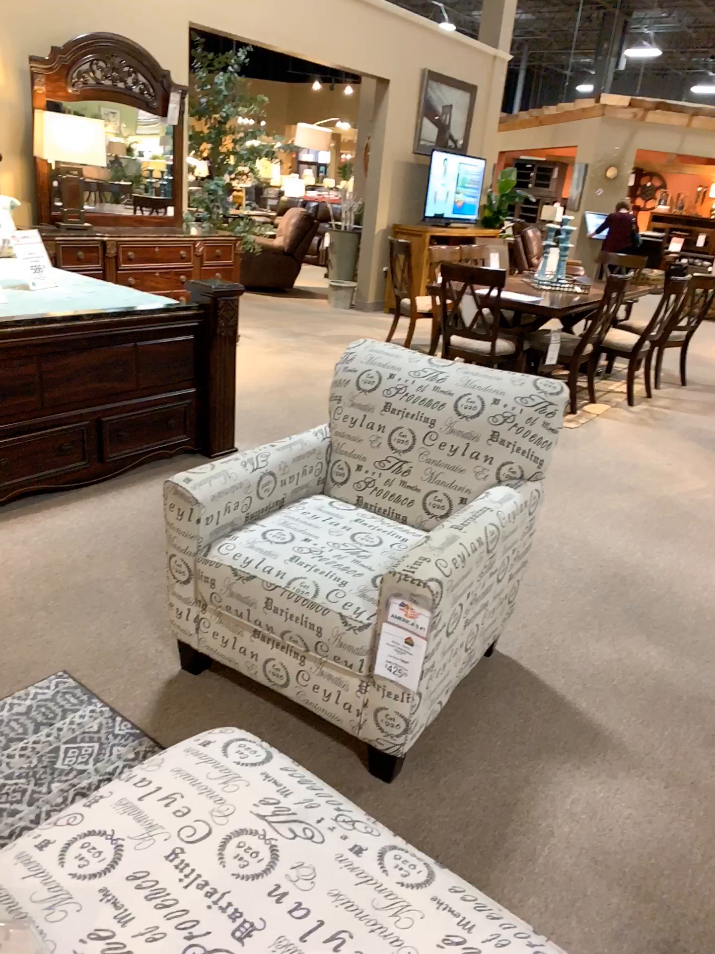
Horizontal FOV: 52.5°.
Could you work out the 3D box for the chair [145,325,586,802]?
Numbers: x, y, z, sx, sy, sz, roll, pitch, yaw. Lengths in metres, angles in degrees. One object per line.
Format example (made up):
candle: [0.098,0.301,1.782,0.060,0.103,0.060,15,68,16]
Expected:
chair: [0.034,0.121,2.116,0.835,0.870,0.918,18,26,28]
